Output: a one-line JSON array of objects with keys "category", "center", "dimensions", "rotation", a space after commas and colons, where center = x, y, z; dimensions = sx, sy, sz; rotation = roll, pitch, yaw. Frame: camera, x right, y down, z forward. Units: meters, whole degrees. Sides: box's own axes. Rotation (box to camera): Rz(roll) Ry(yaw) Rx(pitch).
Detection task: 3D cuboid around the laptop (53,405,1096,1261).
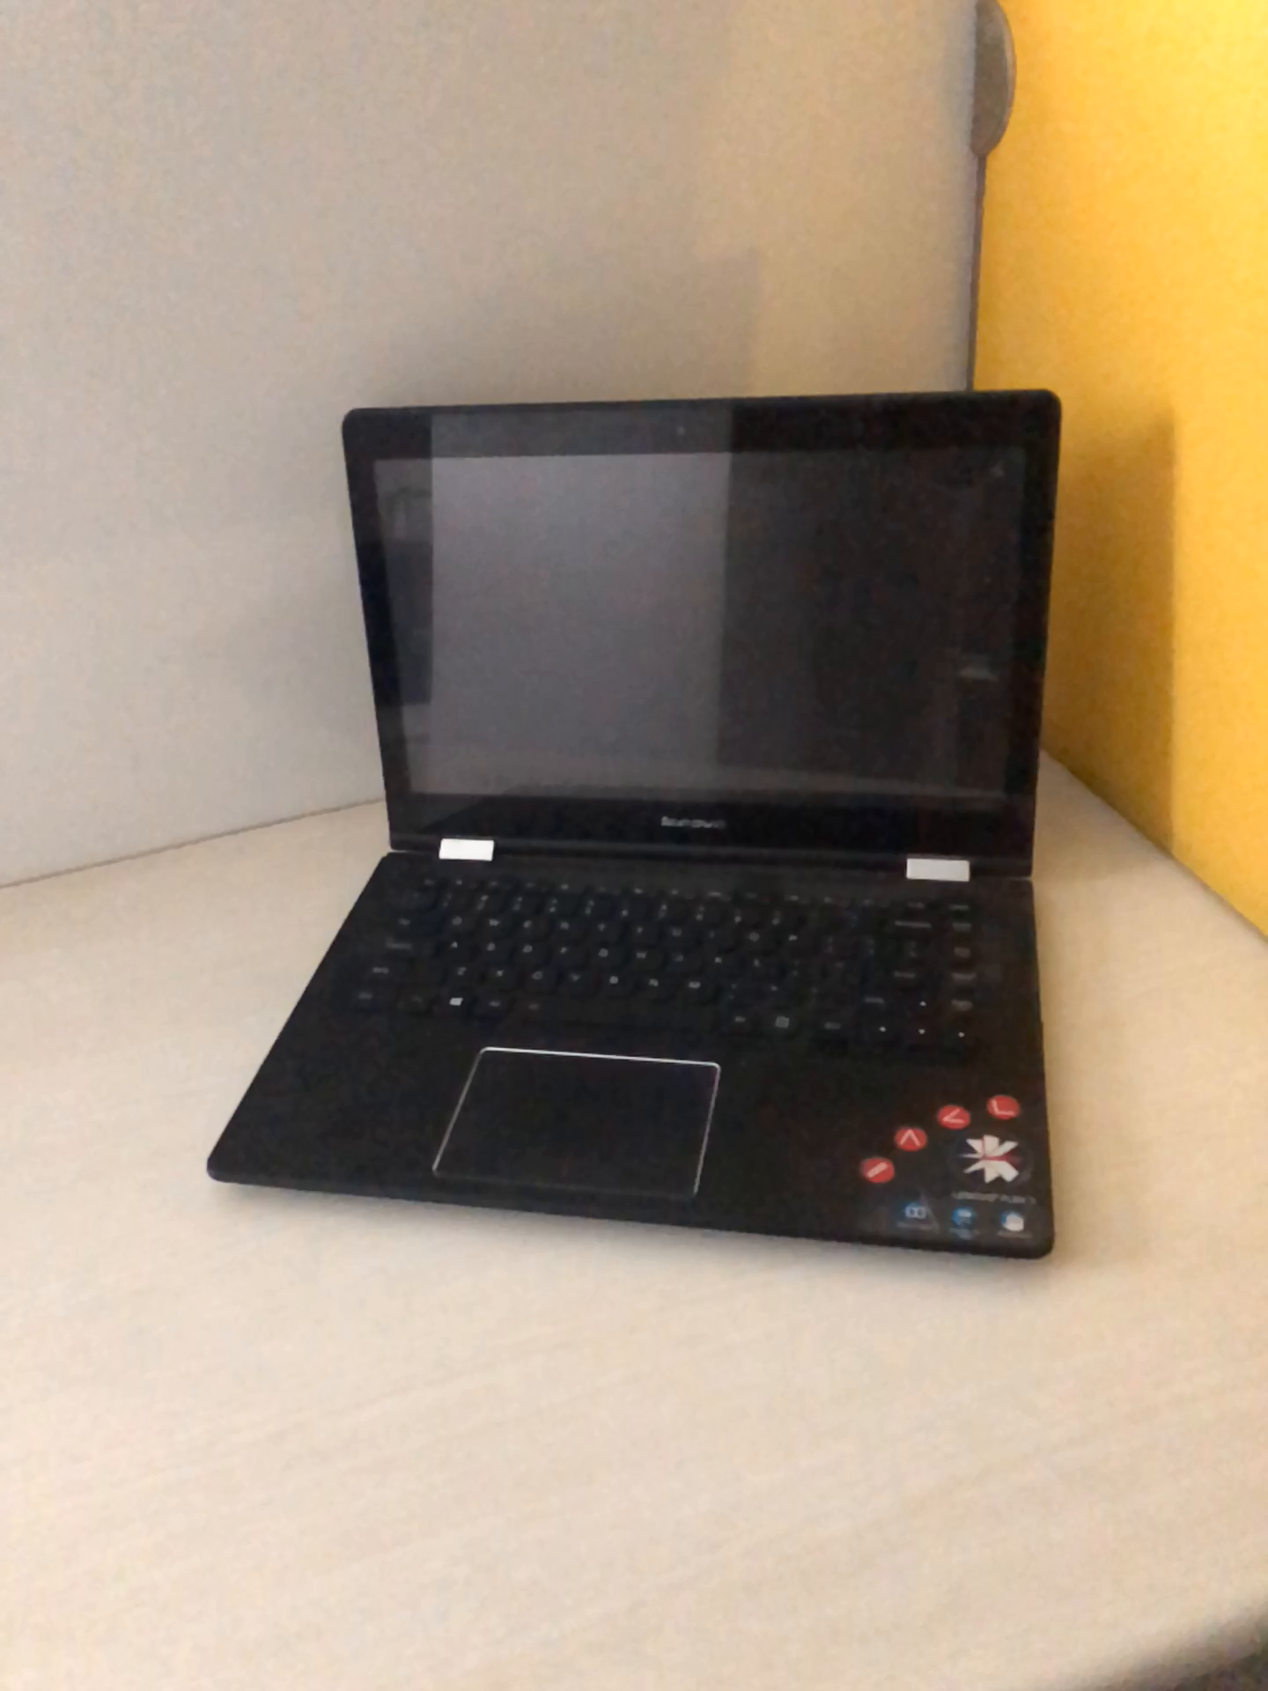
[{"category": "laptop", "center": [0.003, -0.027, 0.570], "dimensions": [0.311, 0.225, 0.265], "rotation": [2, 34, 12]}]
